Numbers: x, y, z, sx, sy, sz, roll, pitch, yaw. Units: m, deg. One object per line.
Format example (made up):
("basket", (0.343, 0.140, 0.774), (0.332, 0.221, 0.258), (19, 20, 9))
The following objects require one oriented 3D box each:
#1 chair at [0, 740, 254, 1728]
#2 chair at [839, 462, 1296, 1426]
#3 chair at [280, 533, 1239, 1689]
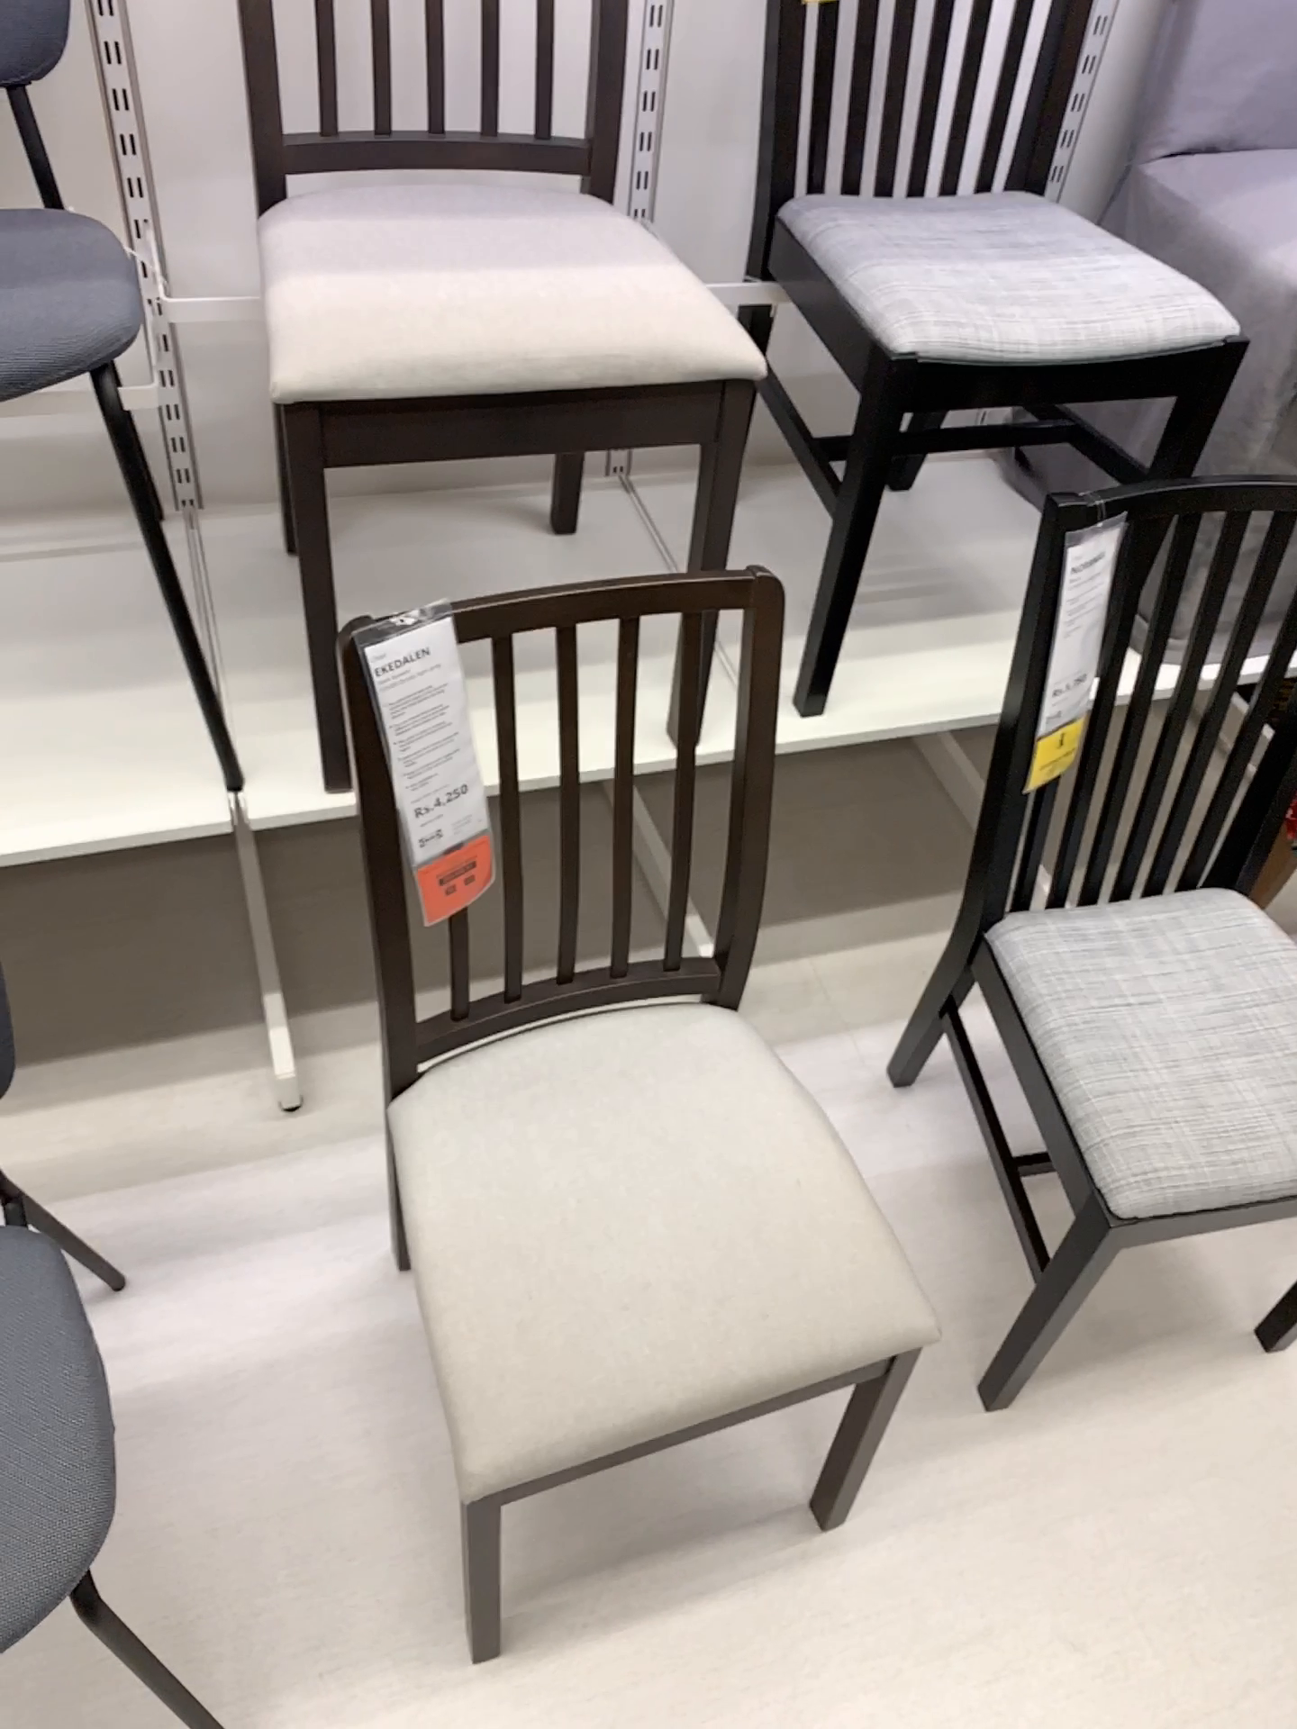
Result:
("chair", (-0.719, 0.446, 1.069), (0.570, 0.787, 0.612), (-14, 49, -20))
("chair", (0.606, 0.122, 1.445), (0.480, 0.917, 0.532), (-6, 47, -13))
("chair", (-0.003, 0.264, 1.218), (0.480, 0.917, 0.532), (-11, 48, -17))
